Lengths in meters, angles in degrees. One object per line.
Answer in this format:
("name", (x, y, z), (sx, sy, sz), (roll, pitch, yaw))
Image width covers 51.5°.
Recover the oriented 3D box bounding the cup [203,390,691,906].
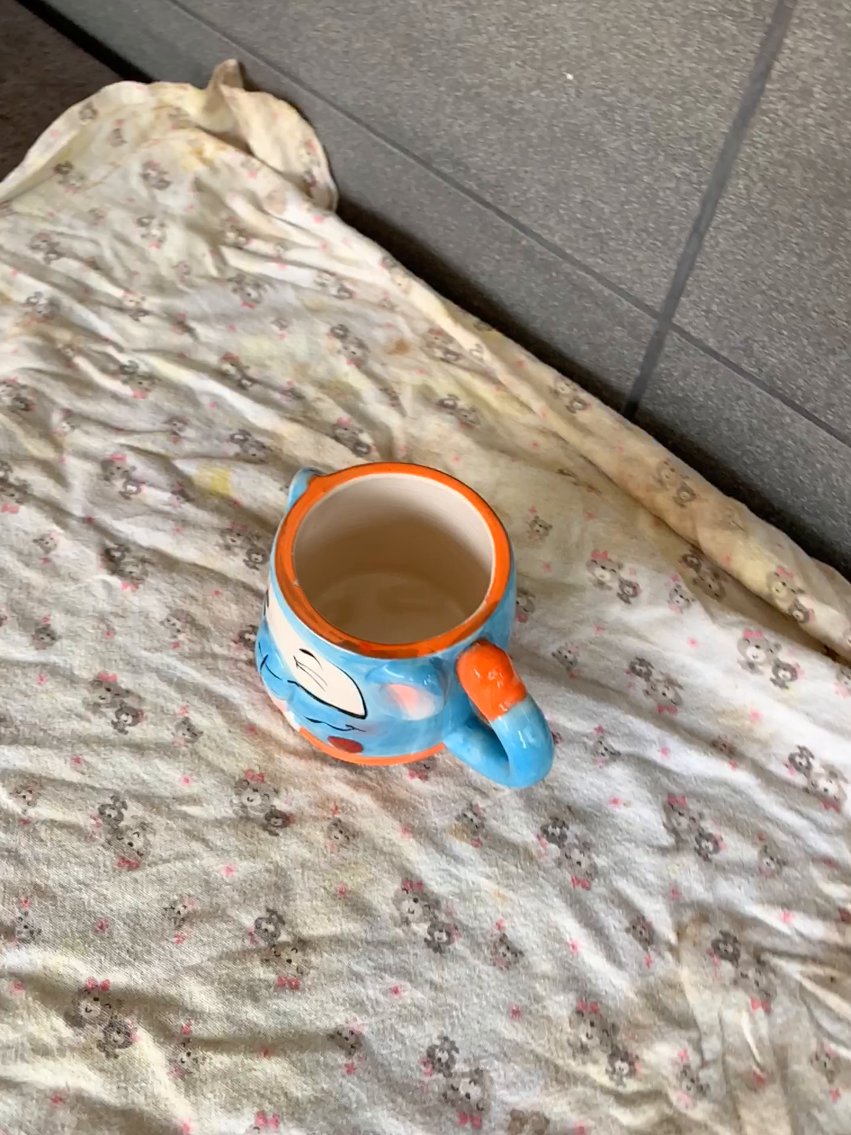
("cup", (0.002, 0.025, 0.288), (0.090, 0.090, 0.110), (-32, 65, -24))
